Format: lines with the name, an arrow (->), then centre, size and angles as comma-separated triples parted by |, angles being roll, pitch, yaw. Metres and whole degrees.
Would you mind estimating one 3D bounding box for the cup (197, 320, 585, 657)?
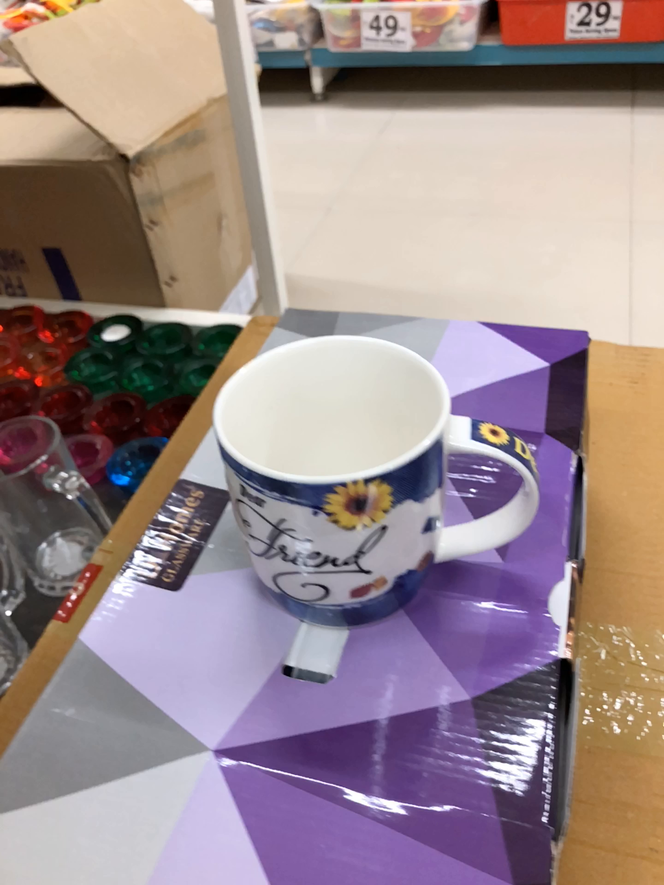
cup -> 0.020, 0.018, 0.287 | 0.120, 0.089, 0.081 | -5, 41, 1
